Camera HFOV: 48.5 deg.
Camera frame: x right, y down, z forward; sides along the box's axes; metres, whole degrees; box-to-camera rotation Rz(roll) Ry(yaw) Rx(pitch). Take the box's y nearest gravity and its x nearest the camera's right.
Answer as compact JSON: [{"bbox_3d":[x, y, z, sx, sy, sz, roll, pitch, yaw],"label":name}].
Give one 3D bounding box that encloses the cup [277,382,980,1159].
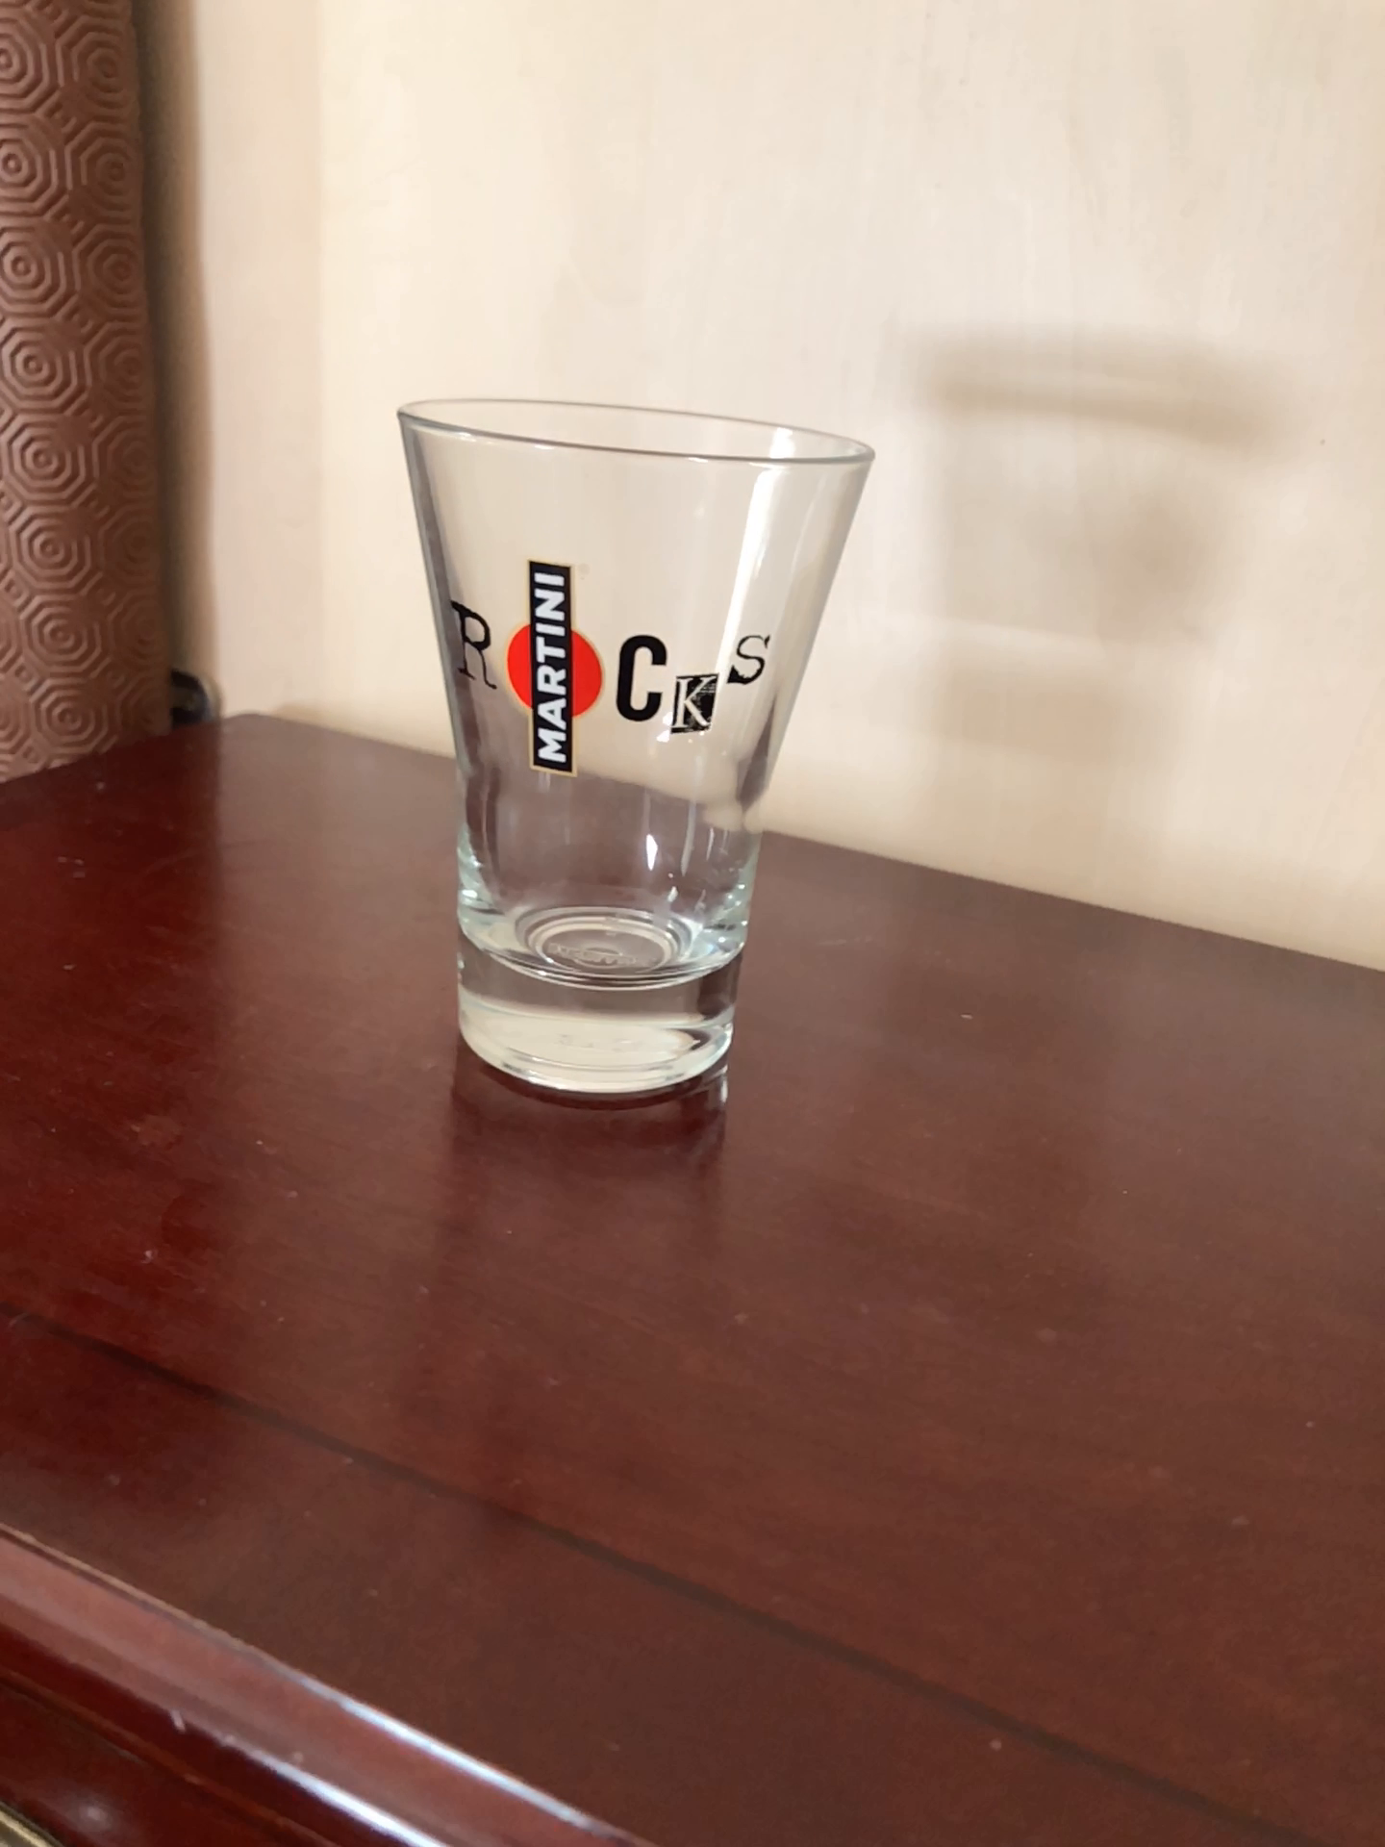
[{"bbox_3d":[-0.012,-0.039,0.302,0.094,0.118,0.095,4,21,-2],"label":"cup"}]
